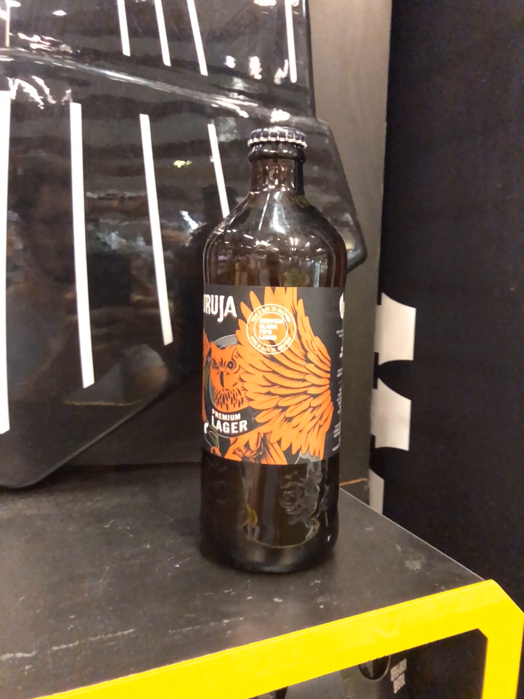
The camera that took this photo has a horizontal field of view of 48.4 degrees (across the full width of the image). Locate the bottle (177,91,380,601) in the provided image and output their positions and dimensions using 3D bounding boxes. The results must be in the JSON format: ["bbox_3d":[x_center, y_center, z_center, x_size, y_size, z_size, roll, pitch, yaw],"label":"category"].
[{"bbox_3d":[0.007,-0.003,0.299,0.070,0.220,0.070,1,6,0],"label":"bottle"}]
